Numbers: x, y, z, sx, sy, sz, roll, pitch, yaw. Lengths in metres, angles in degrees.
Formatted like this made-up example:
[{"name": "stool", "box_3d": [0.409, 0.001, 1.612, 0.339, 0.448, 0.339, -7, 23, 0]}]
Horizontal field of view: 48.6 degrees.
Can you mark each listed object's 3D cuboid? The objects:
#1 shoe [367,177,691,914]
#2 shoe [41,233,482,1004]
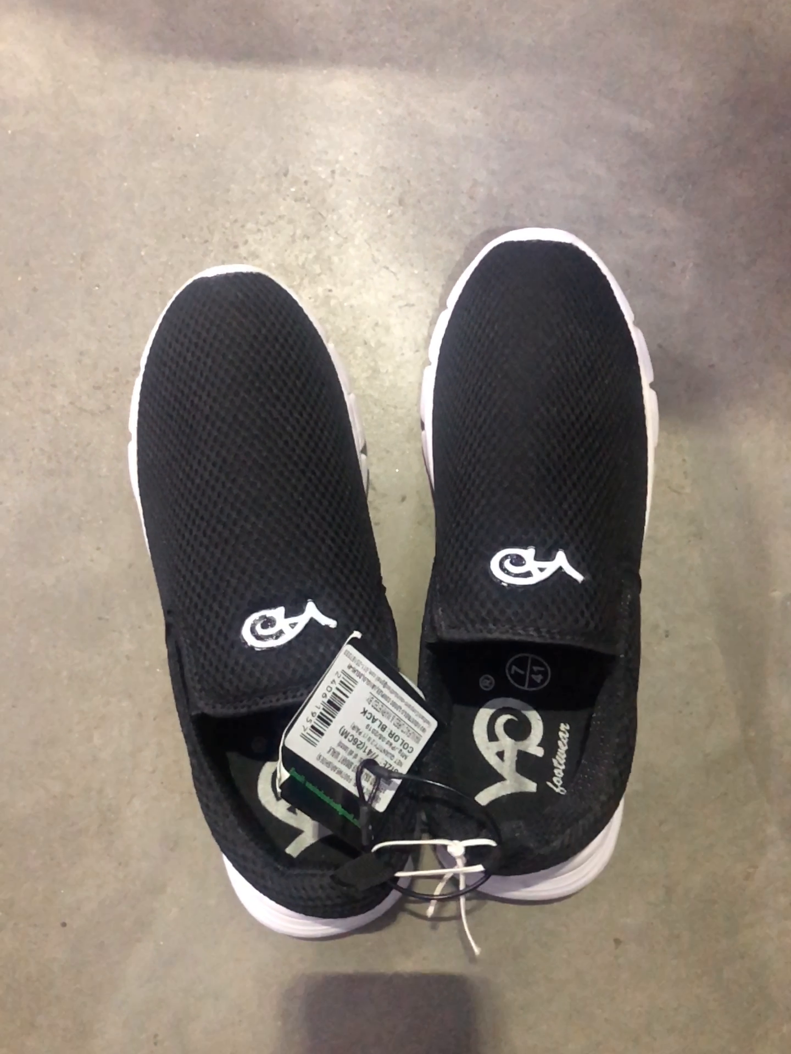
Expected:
[{"name": "shoe", "box_3d": [0.058, 0.004, 0.374, 0.110, 0.100, 0.270, 2, 82, 7]}, {"name": "shoe", "box_3d": [-0.054, 0.031, 0.366, 0.110, 0.100, 0.260, -12, 83, -4]}]
